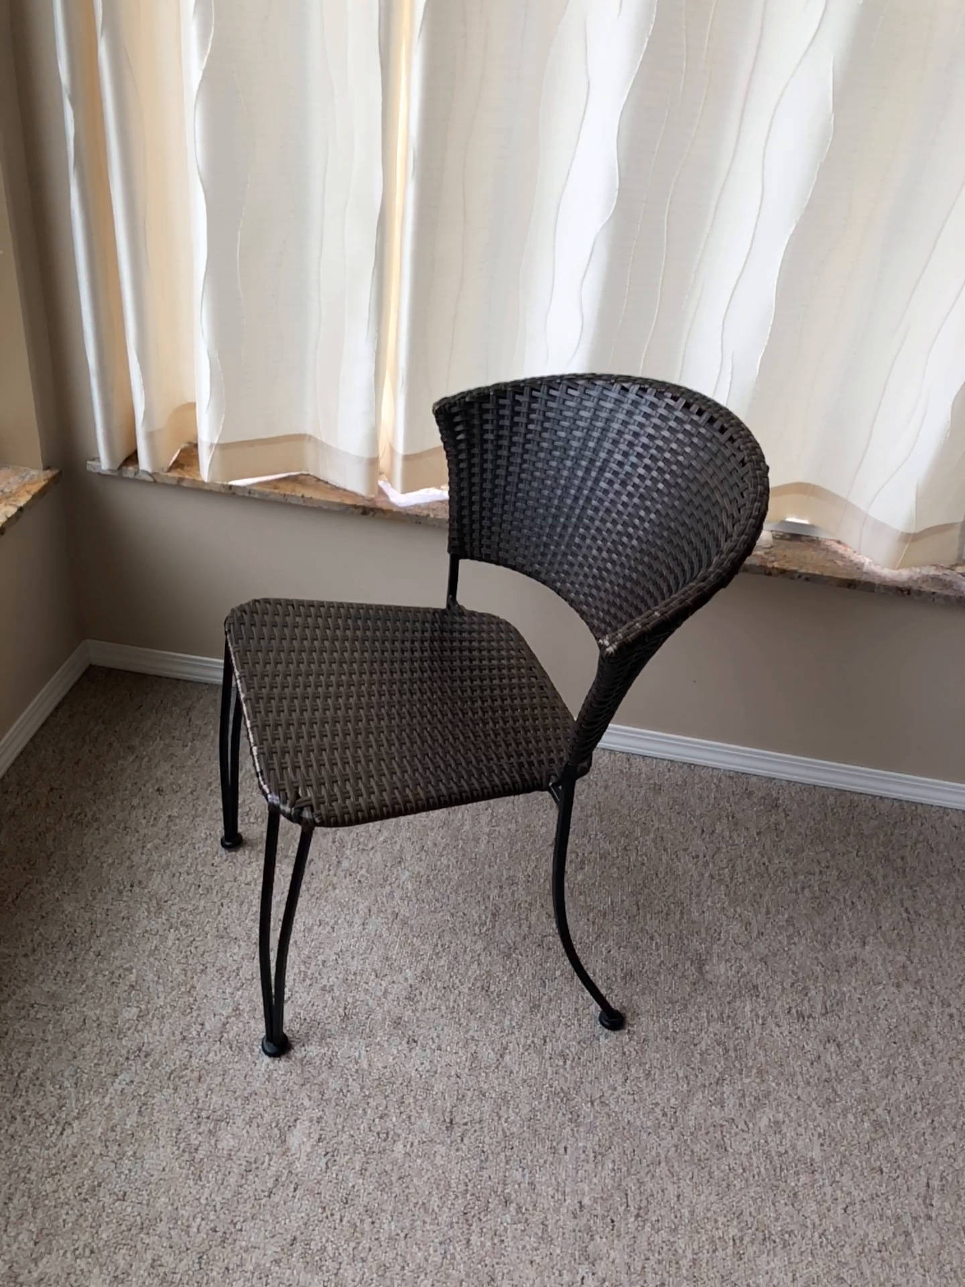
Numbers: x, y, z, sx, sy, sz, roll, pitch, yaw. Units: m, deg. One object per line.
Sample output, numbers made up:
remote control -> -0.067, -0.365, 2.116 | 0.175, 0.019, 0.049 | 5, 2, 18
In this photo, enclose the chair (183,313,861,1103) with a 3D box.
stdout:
chair -> -0.045, 0.060, 1.384 | 0.610, 0.787, 0.562 | -4, 36, -17
